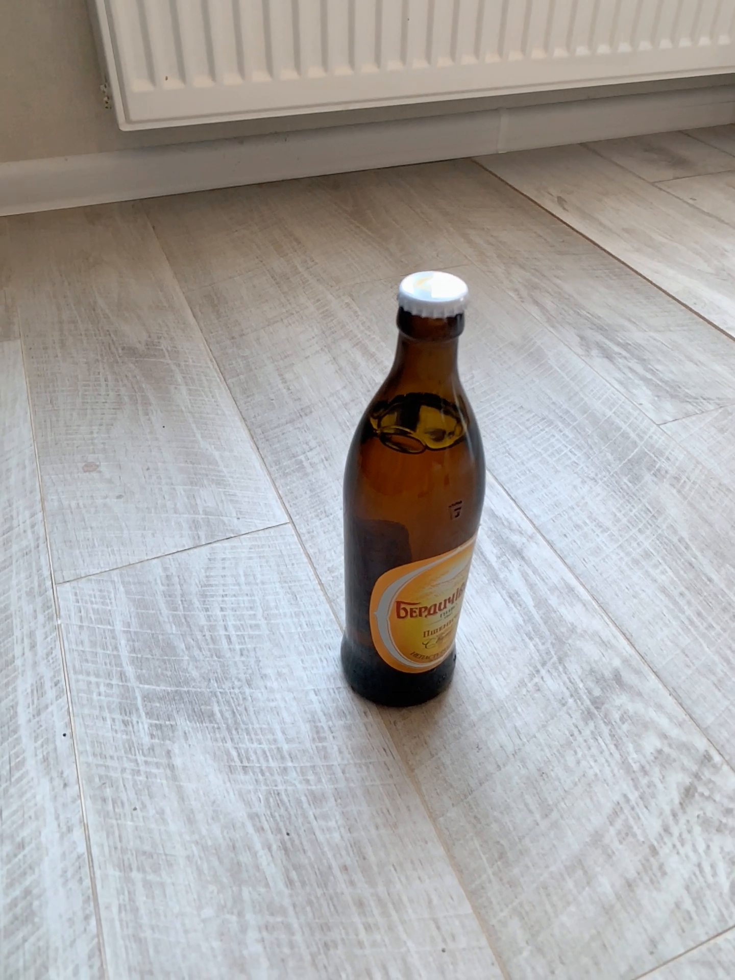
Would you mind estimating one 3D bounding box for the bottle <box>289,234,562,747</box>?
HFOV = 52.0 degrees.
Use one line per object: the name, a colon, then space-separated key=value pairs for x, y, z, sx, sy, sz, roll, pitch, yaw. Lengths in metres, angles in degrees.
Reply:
bottle: x=0.018 y=0.014 z=0.347 sx=0.070 sy=0.229 sz=0.070 roll=1 pitch=41 yaw=-1
